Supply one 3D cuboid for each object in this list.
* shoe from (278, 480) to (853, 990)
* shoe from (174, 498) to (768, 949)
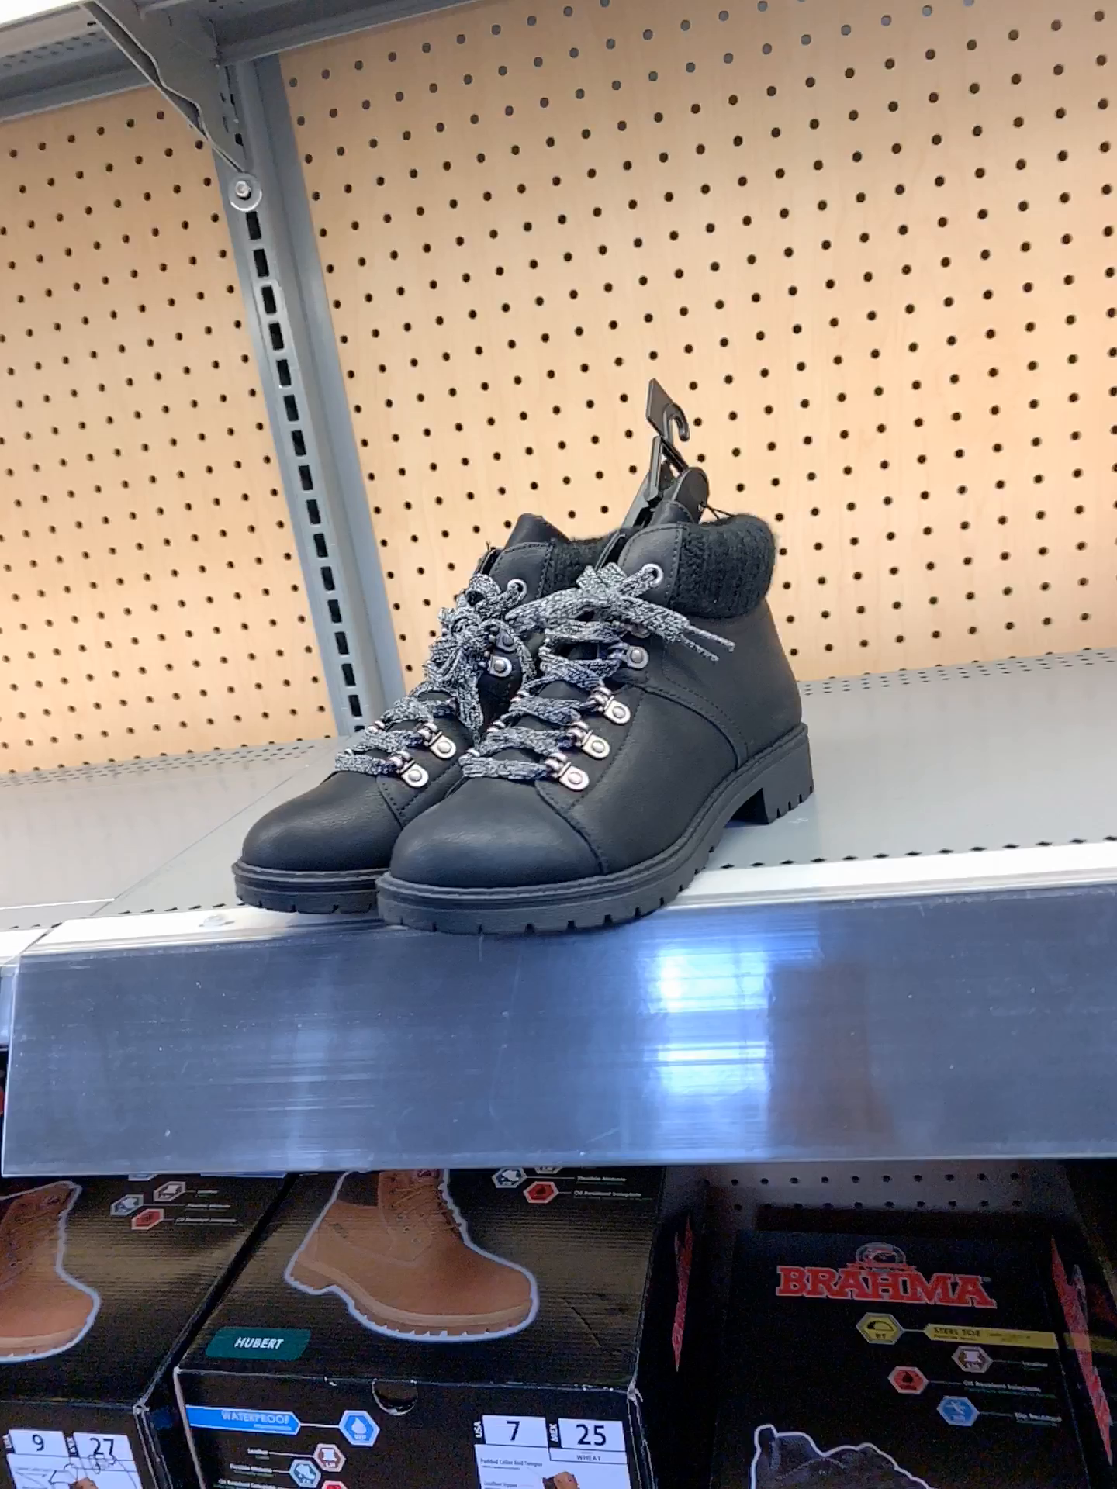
[{"bbox_3d":[0.021,-0.021,0.477,0.105,0.137,0.231,2,18,38],"label":"shoe"},{"bbox_3d":[-0.032,-0.024,0.533,0.236,0.137,0.104,-18,17,-31],"label":"shoe"}]
